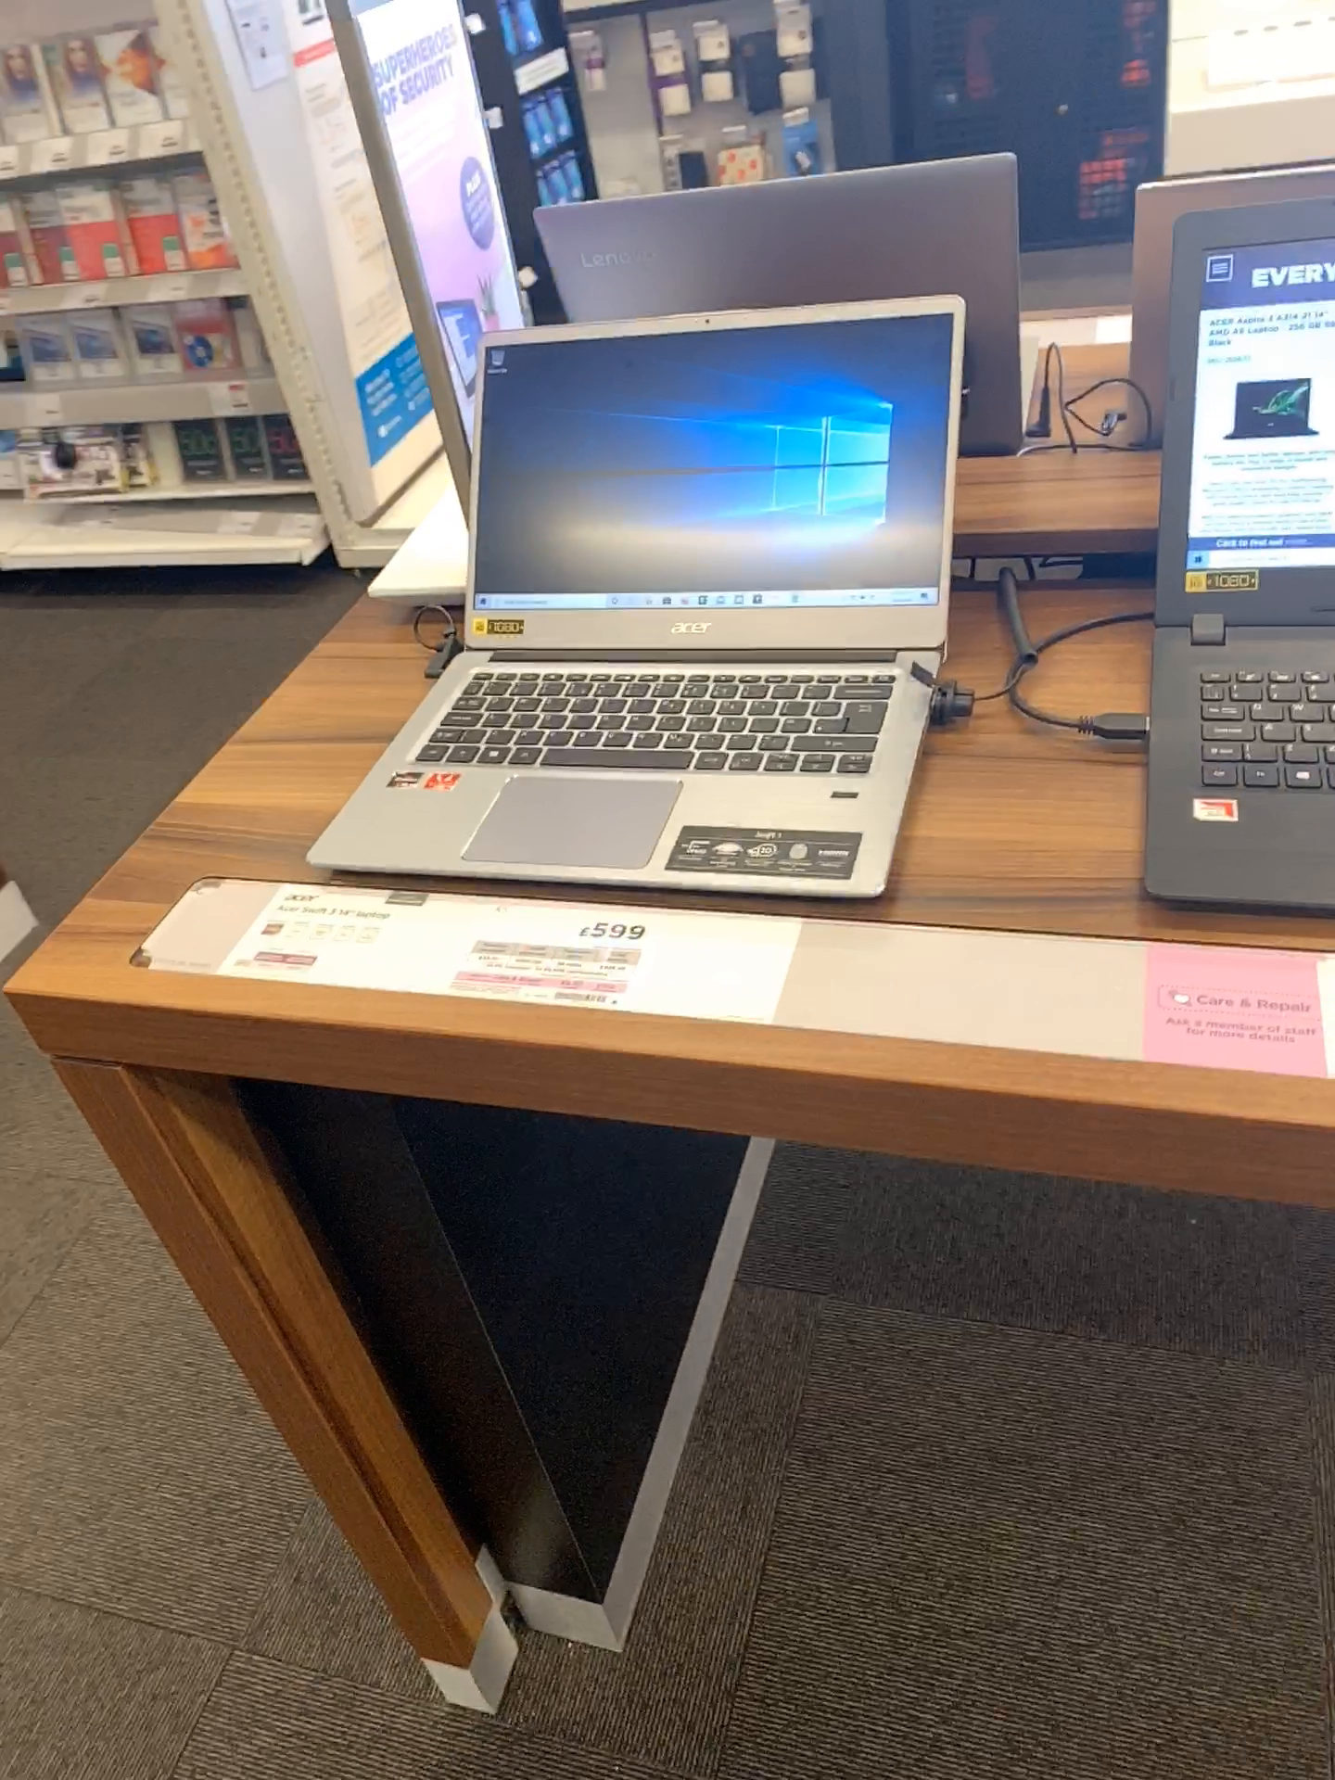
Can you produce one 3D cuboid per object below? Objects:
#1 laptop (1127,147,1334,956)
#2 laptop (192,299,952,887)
[{"bbox_3d":[0.420,-0.175,0.631,0.371,0.191,0.358,2,41,15],"label":"laptop"},{"bbox_3d":[-0.018,-0.184,0.776,0.307,0.153,0.361,3,41,18],"label":"laptop"}]
